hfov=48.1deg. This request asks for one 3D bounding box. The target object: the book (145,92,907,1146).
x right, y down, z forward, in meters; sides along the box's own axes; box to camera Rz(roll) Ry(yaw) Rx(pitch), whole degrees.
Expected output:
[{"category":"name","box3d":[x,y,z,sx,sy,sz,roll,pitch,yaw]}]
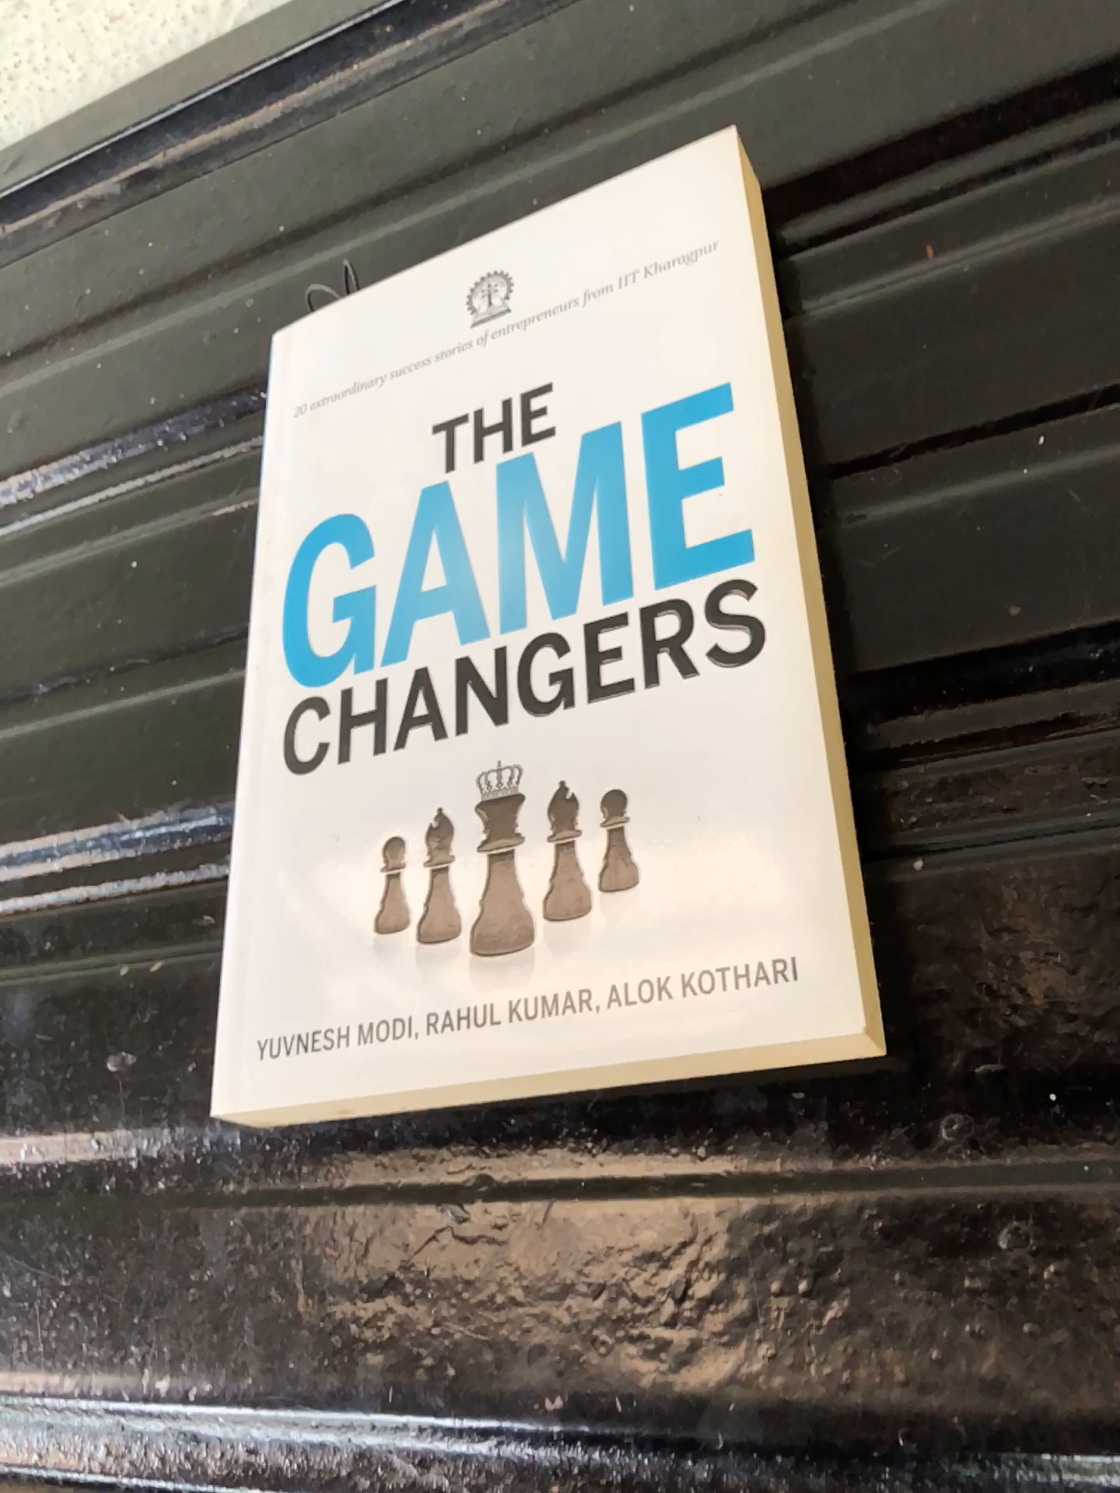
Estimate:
[{"category":"book","box3d":[-0.014,-0.026,0.251,0.130,0.030,0.190,-13,64,23]}]
